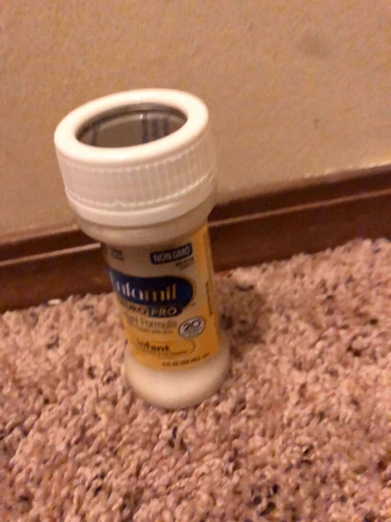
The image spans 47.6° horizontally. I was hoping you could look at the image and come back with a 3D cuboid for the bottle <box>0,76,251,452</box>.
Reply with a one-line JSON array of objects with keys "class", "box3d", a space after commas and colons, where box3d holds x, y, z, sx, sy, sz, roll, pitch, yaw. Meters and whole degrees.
[{"class": "bottle", "box3d": [-0.016, 0.006, 0.145, 0.050, 0.110, 0.050, -5, 43, 5]}]
